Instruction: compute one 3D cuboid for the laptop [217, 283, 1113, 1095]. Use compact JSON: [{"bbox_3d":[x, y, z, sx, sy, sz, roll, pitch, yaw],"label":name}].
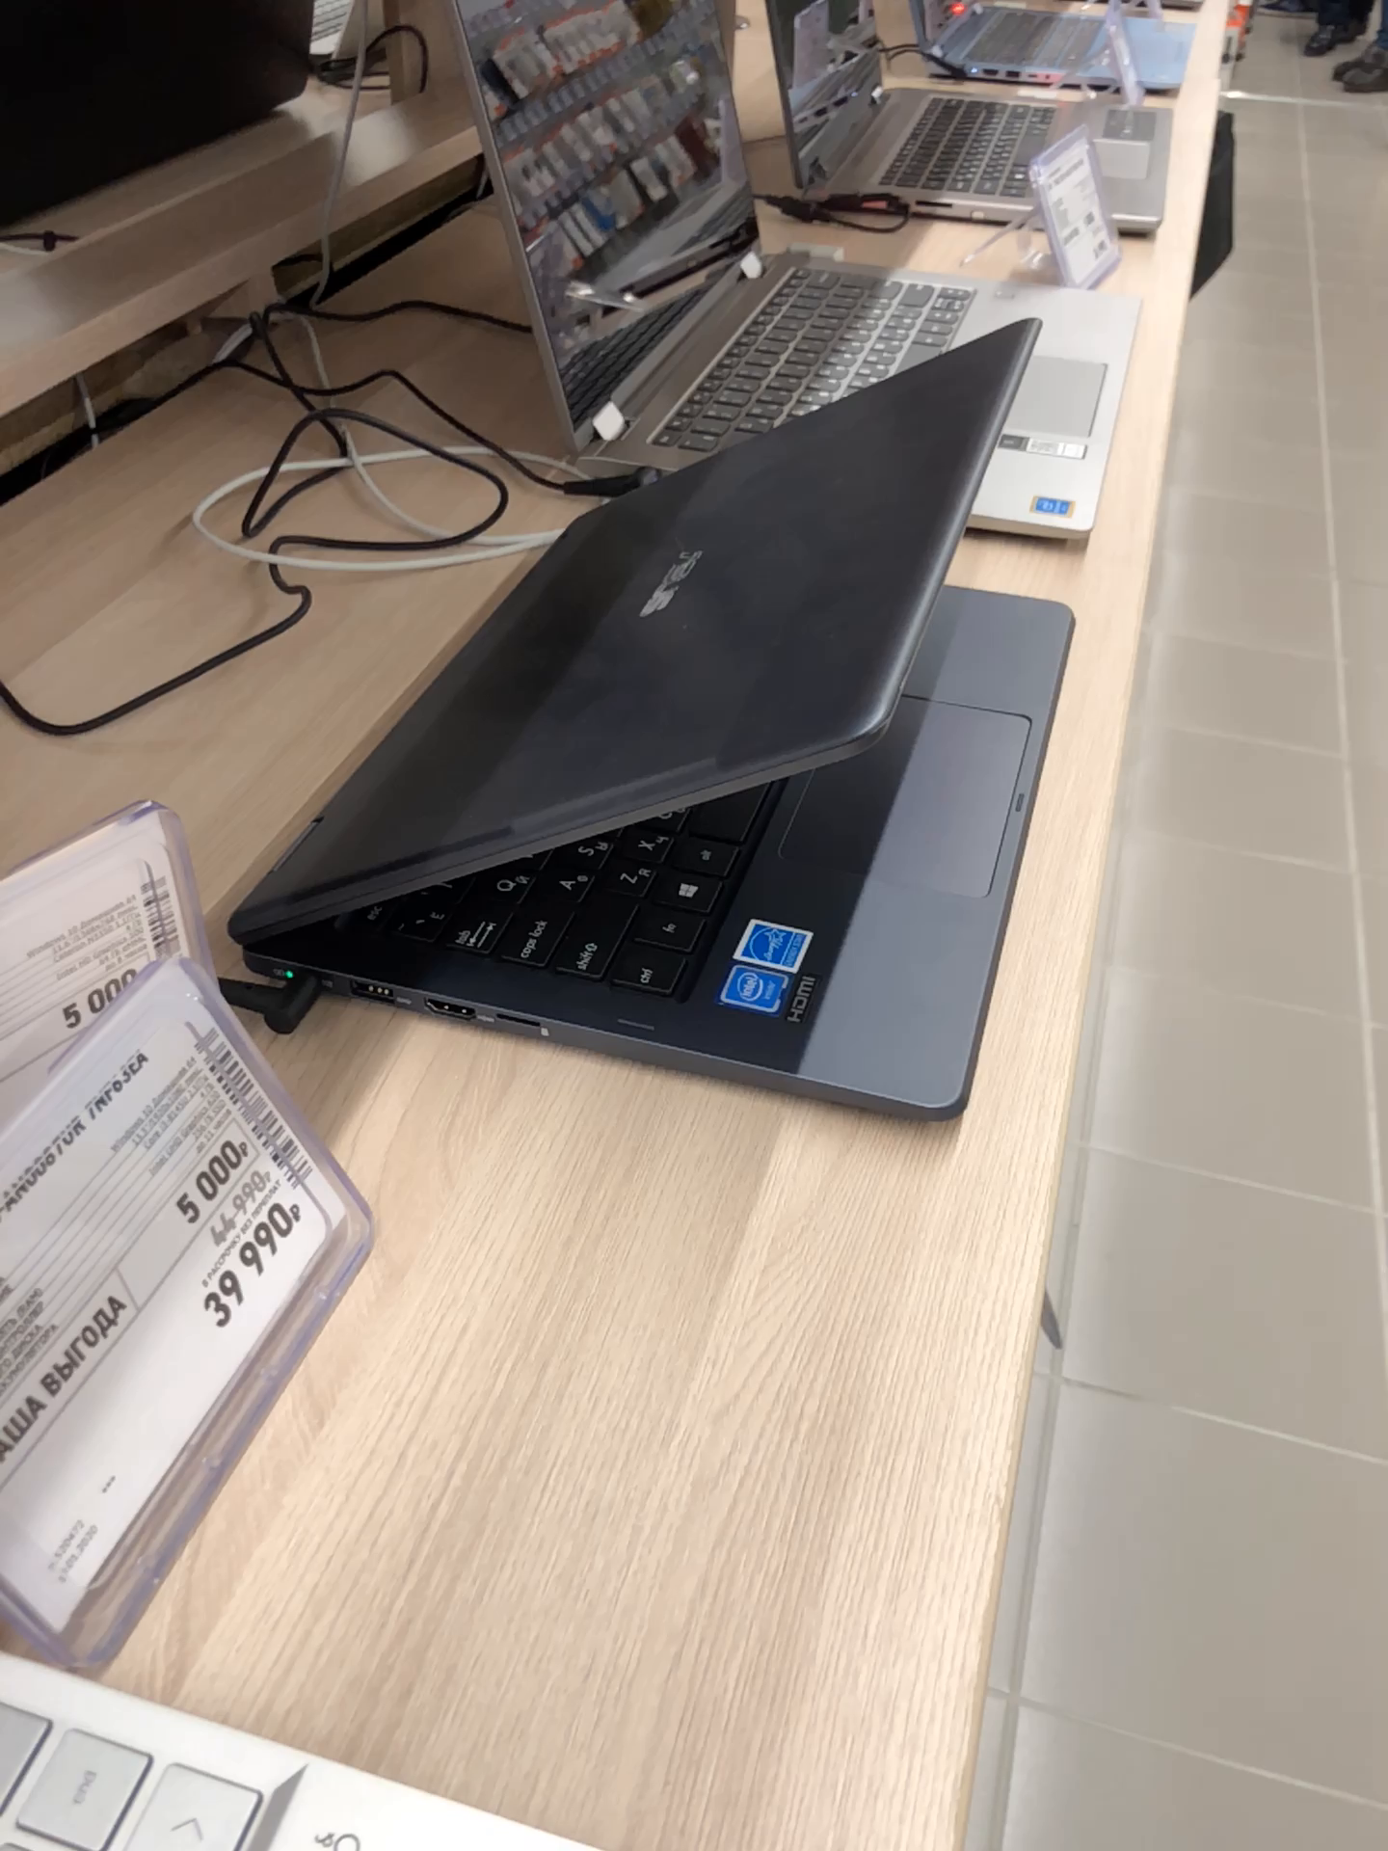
[{"bbox_3d":[0.015,-0.097,0.467,0.185,0.097,0.273,12,40,12],"label":"laptop"}]
